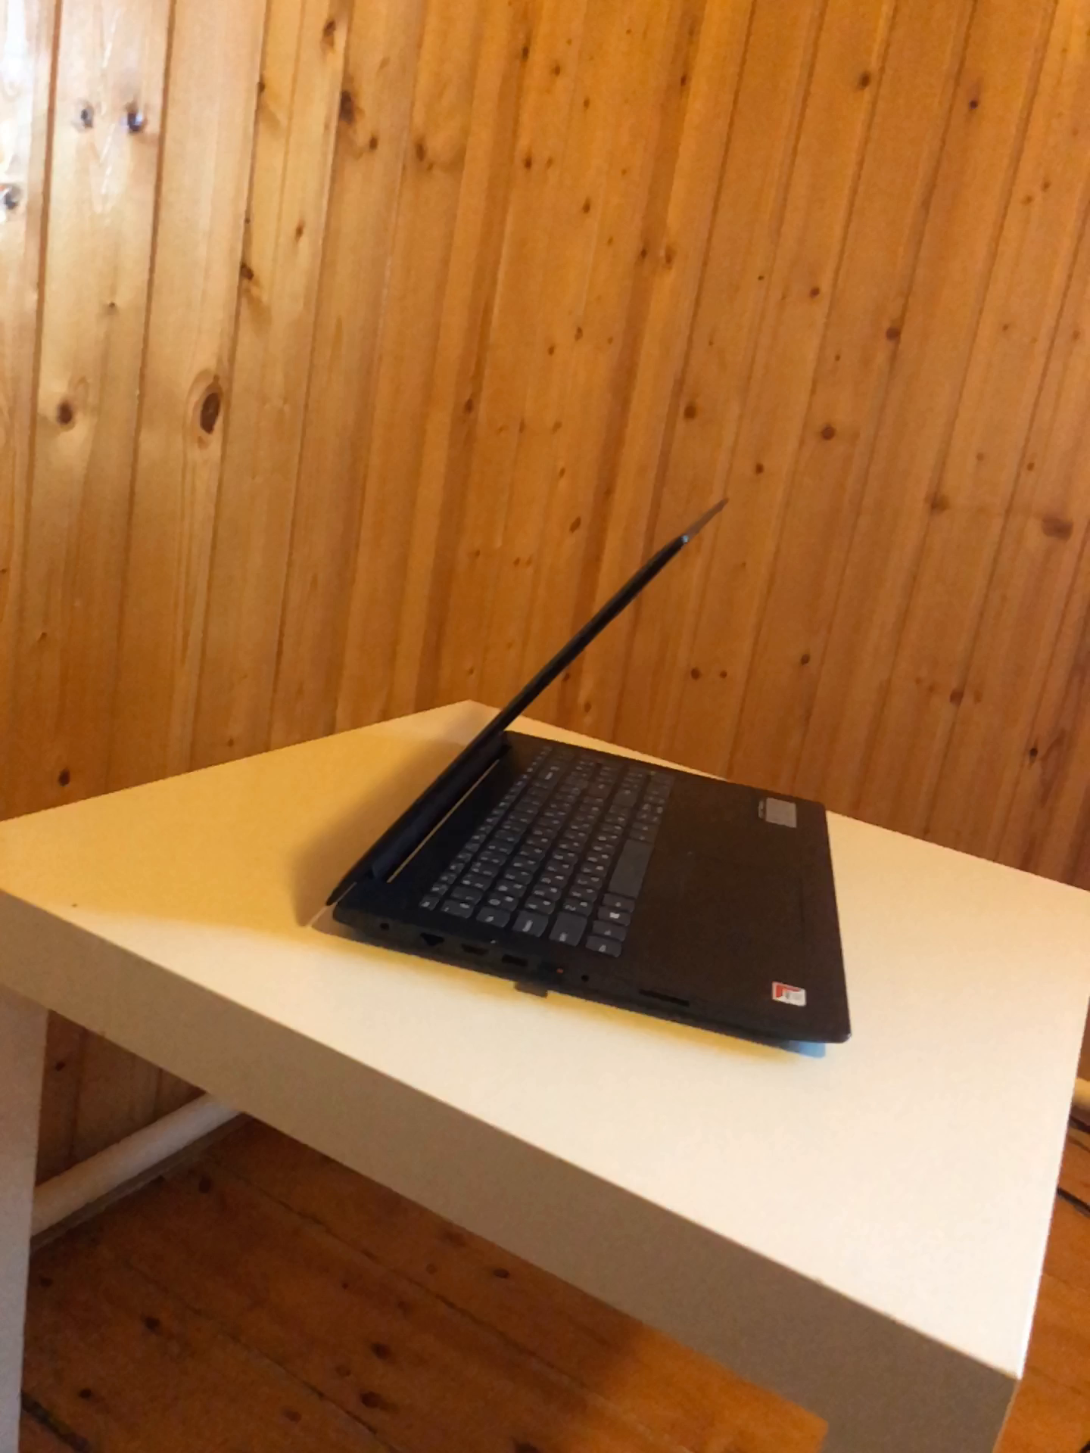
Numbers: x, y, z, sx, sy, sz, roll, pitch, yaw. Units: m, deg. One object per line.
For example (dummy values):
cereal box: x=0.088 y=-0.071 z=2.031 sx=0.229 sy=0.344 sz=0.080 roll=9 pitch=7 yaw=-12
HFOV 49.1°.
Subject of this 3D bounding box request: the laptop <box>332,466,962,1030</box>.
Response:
laptop: x=0.072 y=-0.027 z=0.714 sx=0.249 sy=0.206 sz=0.374 roll=12 pitch=15 yaw=9
